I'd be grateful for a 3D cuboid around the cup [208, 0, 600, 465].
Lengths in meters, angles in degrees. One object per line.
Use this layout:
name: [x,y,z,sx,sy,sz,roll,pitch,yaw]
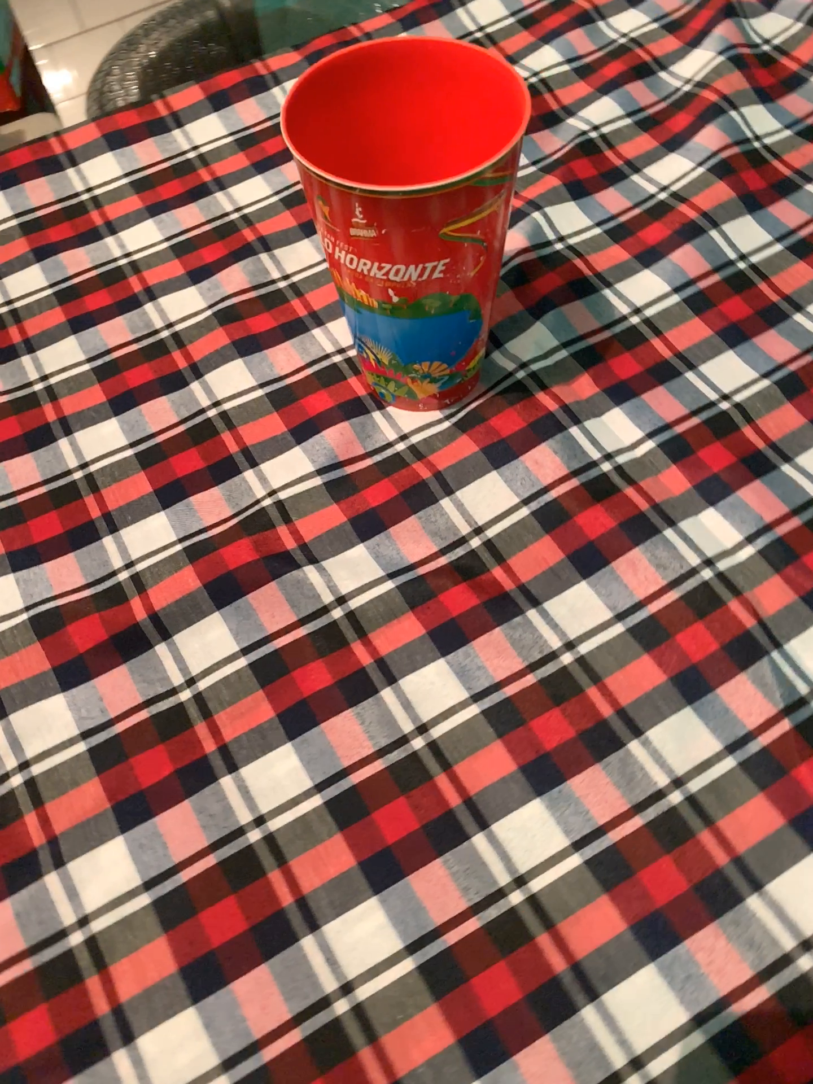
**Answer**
cup: [0.002,-0.128,0.356,0.100,0.130,0.100,-2,59,3]
